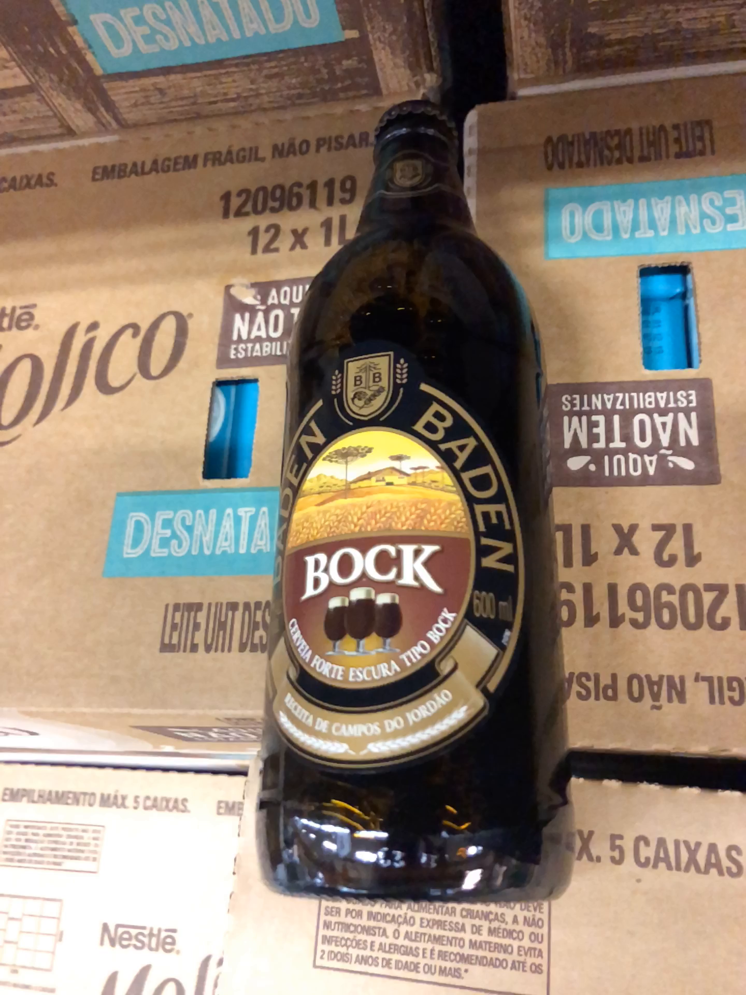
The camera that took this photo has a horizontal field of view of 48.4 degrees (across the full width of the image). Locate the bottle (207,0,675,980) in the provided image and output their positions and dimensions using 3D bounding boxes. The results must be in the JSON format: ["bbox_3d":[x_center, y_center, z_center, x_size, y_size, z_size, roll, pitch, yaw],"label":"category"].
[{"bbox_3d":[0.019,-0.016,0.215,0.080,0.070,0.231,-3,69,11],"label":"bottle"}]
